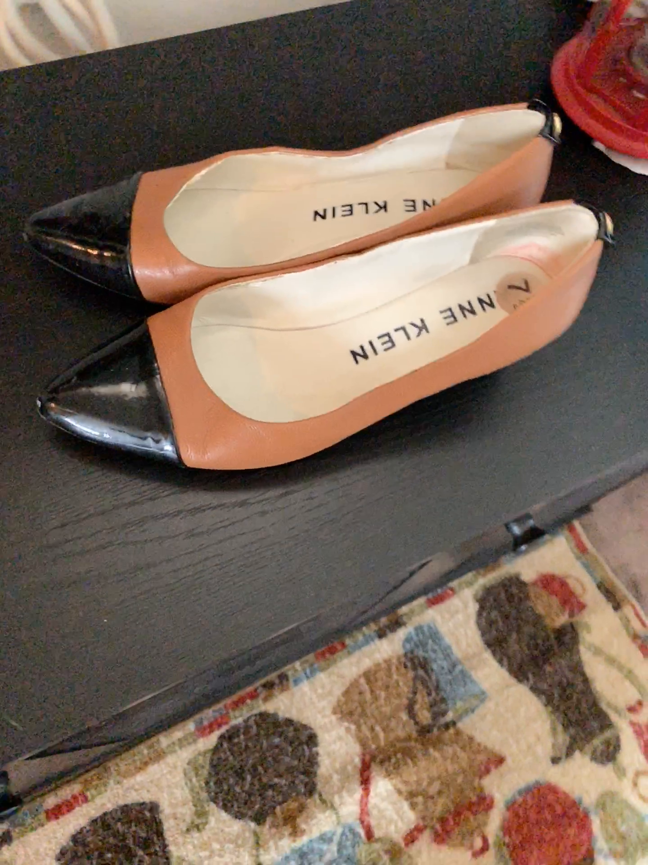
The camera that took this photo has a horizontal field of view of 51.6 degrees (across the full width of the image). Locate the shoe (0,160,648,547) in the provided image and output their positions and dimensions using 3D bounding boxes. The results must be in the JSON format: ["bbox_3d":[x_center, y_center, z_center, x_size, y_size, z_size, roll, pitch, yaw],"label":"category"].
[{"bbox_3d":[0.007,-0.037,0.305,0.260,0.099,0.093,-12,67,-13],"label":"shoe"}]

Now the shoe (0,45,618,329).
[{"bbox_3d":[-0.011,-0.114,0.325,0.260,0.080,0.093,-2,66,-9],"label":"shoe"}]
